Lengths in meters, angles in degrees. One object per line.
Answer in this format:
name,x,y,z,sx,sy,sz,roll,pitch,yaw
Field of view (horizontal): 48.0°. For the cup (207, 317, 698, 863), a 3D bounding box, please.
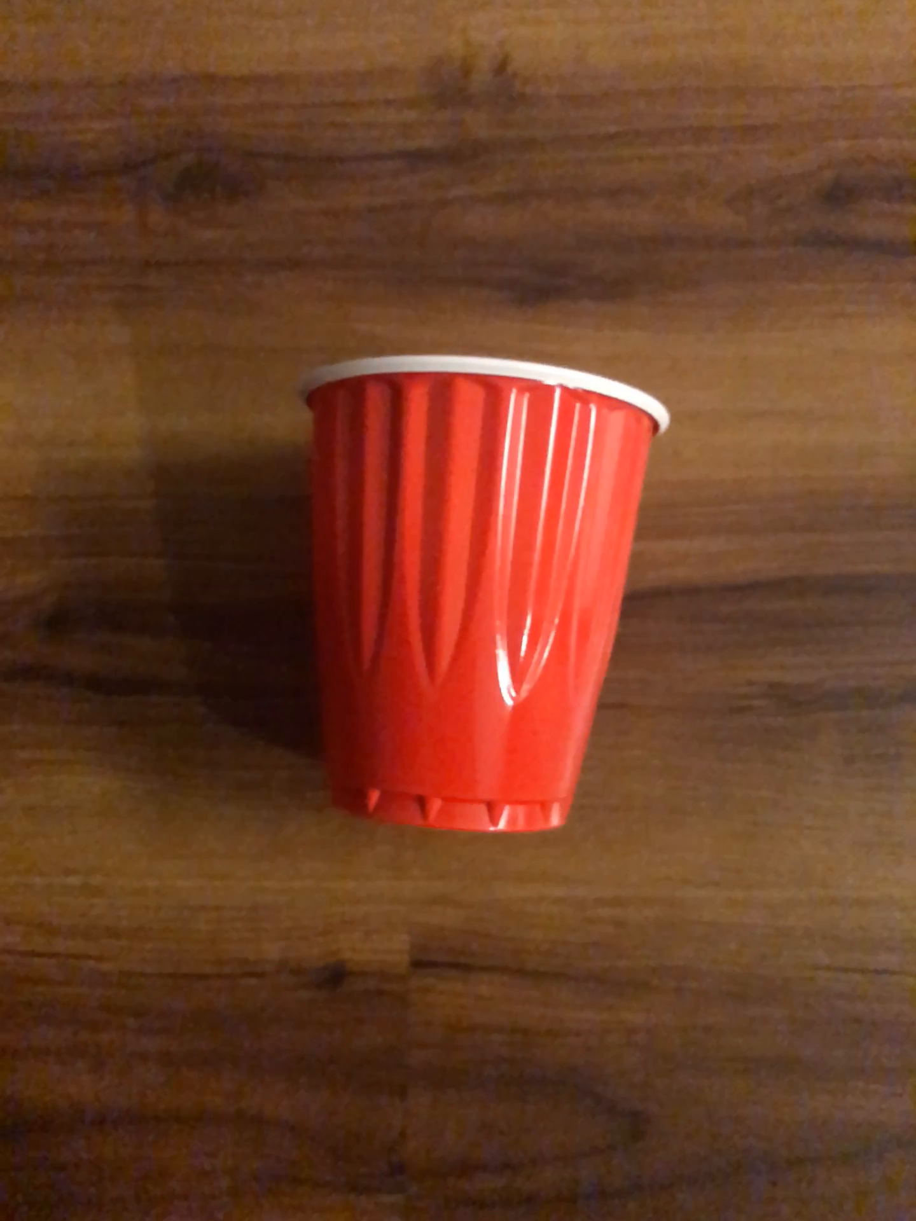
cup,0.001,-0.003,0.279,0.099,0.089,0.114,6,87,3
